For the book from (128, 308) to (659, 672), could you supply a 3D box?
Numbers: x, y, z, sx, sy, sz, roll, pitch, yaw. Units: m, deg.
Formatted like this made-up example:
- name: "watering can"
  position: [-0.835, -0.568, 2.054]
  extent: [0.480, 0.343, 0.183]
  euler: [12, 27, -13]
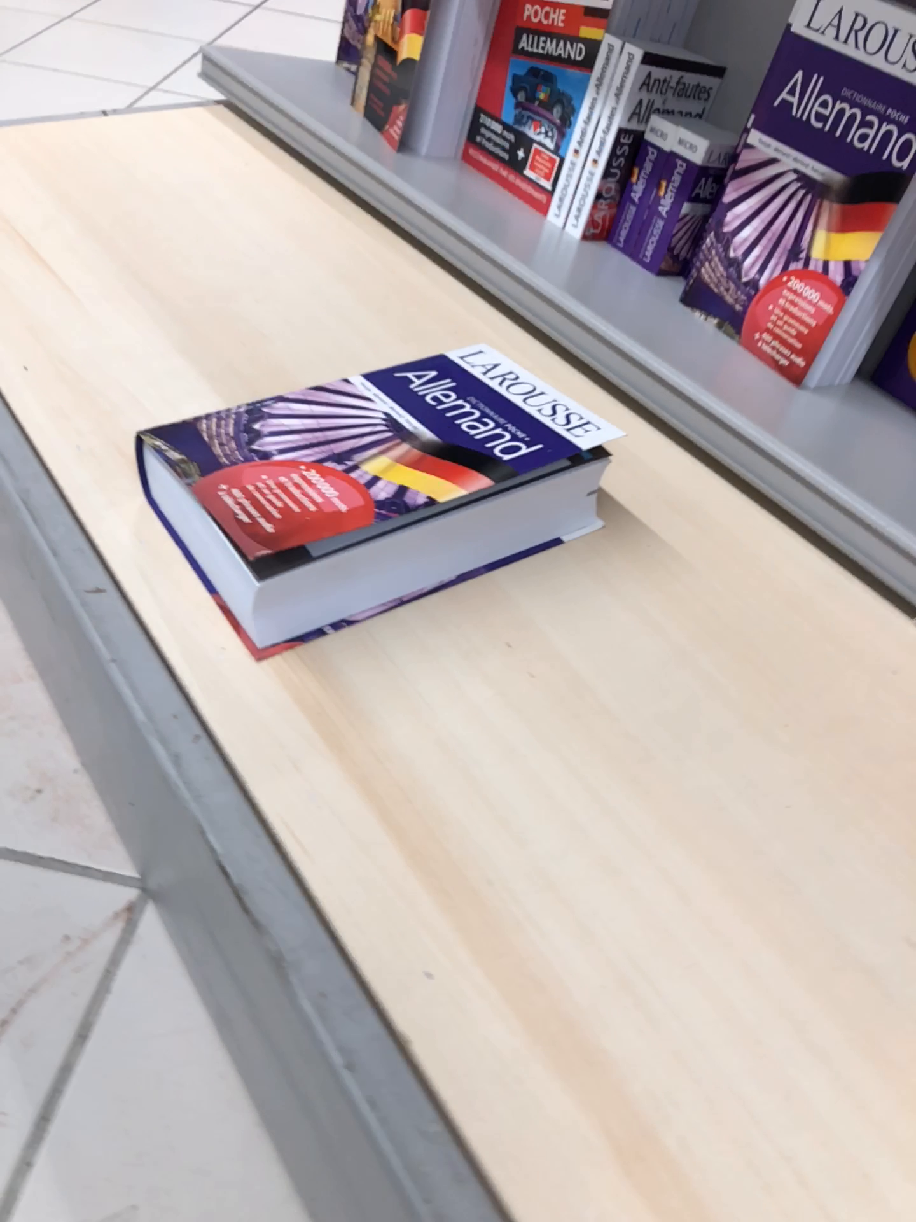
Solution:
- name: "book"
  position: [-0.027, -0.062, 0.431]
  extent: [0.182, 0.050, 0.120]
  euler: [-21, 50, -27]
